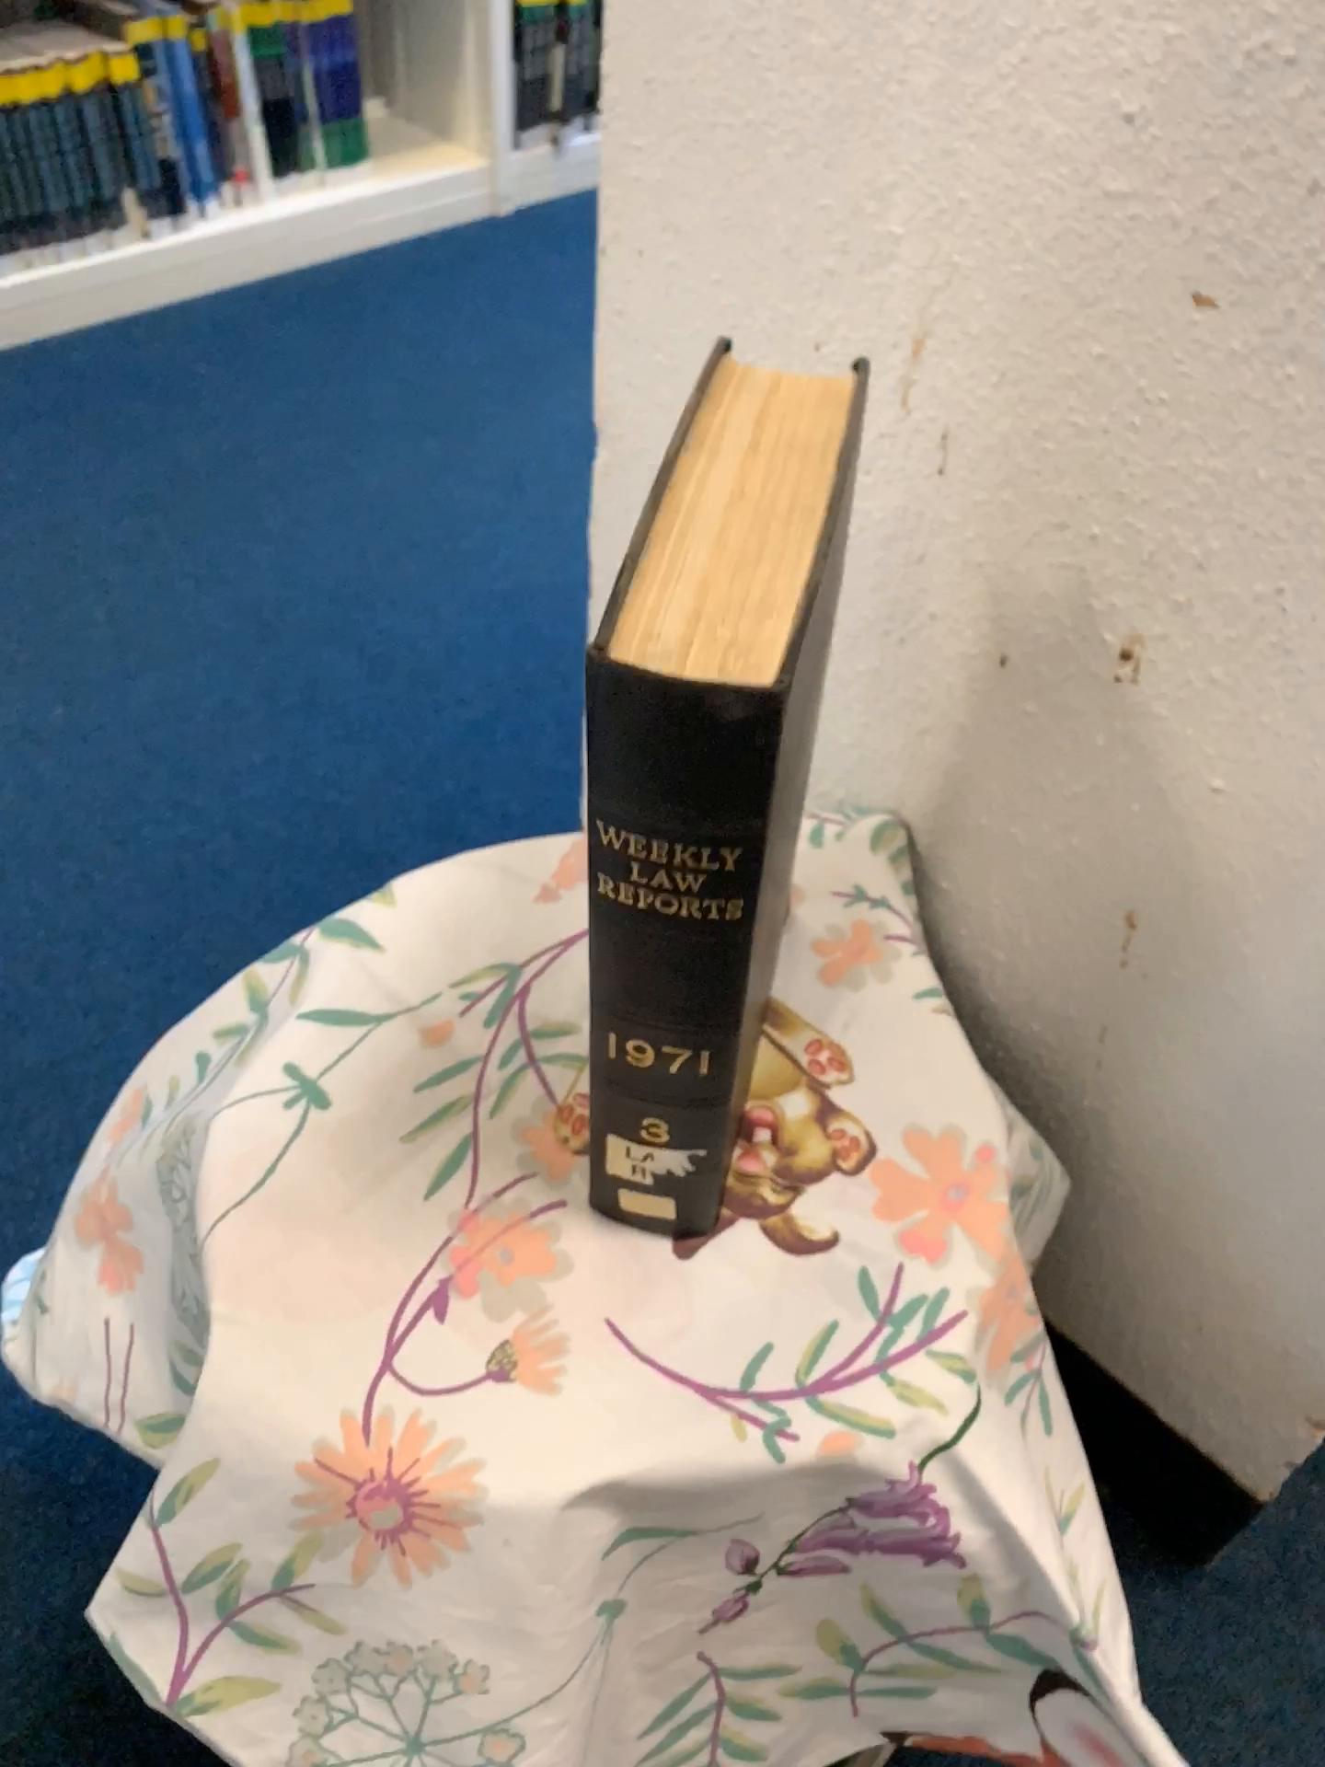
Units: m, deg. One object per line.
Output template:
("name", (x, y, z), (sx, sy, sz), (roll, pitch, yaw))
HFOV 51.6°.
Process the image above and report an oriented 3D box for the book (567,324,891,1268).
("book", (0.017, -0.017, 0.430), (0.052, 0.244, 0.163), (11, 46, 5))
